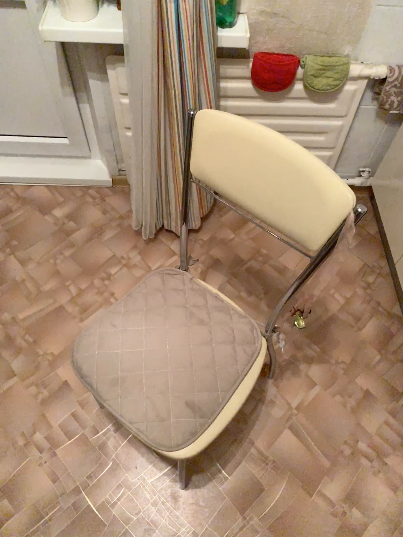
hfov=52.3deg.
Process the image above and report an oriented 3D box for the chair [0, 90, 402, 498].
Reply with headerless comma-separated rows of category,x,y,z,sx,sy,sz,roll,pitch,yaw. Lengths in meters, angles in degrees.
chair,-0.005,0.156,0.963,0.385,0.855,0.492,36,63,19
